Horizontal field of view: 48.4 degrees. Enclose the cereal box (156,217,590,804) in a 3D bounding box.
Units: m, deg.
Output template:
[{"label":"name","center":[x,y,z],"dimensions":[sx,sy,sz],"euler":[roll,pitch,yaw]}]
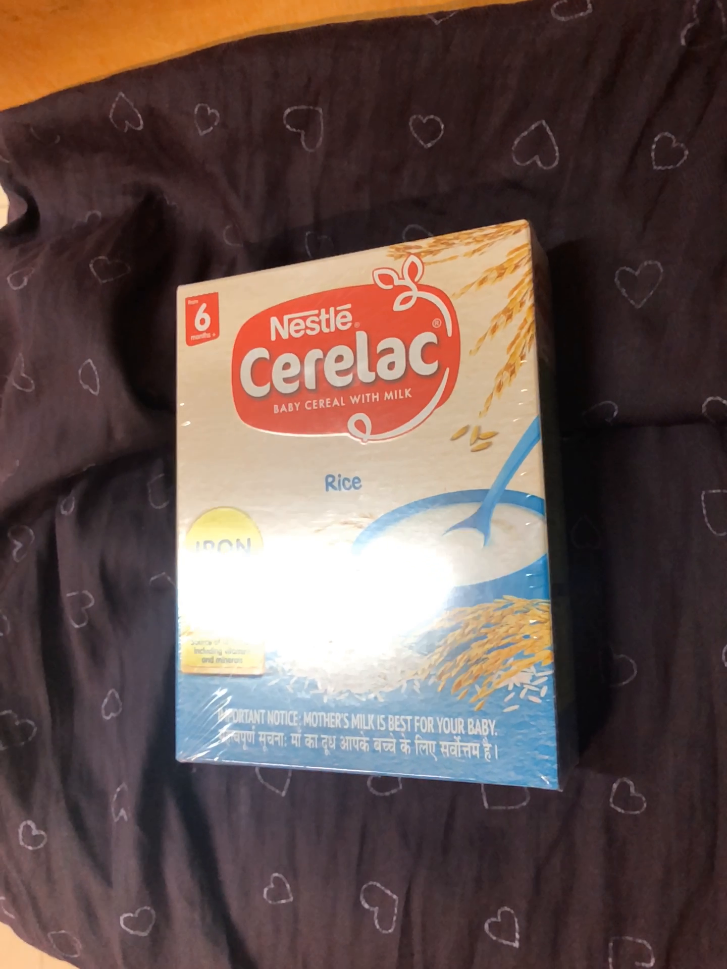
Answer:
[{"label":"cereal box","center":[0.002,0.013,0.337],"dimensions":[0.160,0.070,0.200],"euler":[-4,83,22]}]
